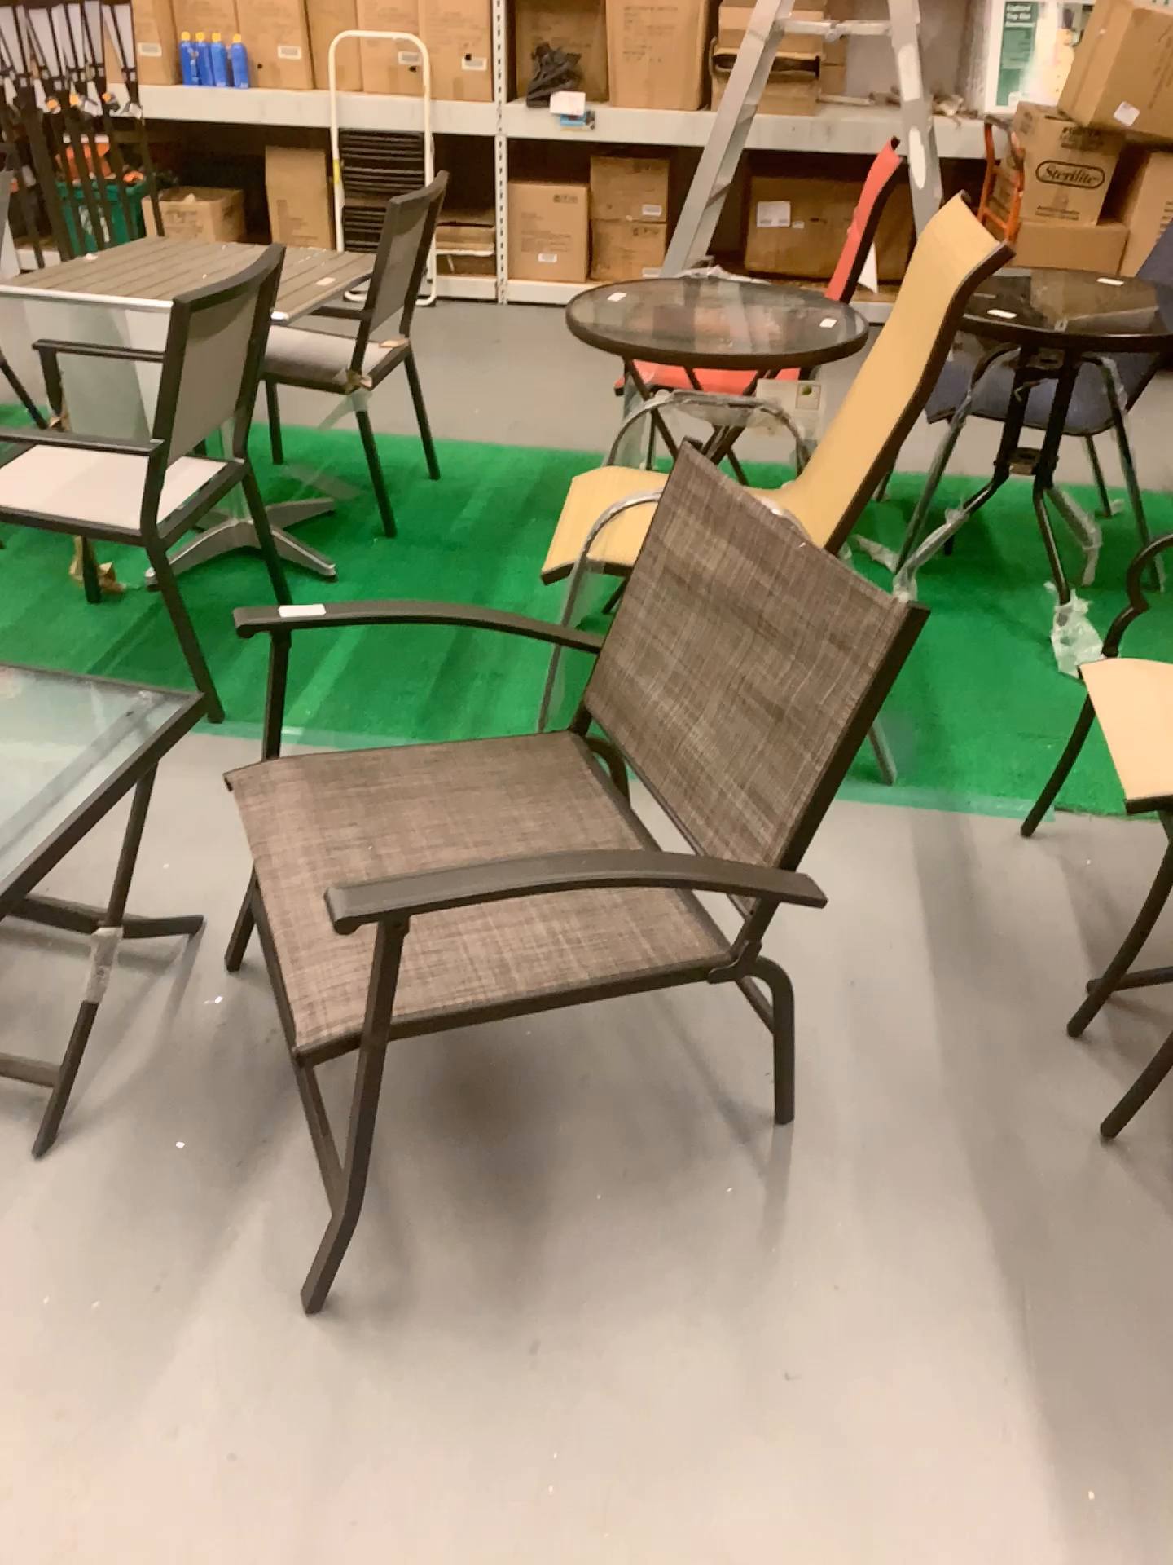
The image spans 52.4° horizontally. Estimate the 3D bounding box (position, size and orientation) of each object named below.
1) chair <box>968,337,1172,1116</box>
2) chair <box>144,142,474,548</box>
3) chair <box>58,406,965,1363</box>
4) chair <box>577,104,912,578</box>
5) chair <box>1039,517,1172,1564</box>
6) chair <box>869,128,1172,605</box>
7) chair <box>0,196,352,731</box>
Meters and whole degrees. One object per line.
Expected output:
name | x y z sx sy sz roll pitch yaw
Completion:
chair | 0.998 -0.081 1.659 0.628 0.837 0.577 7 35 3
chair | -0.690 -1.175 3.189 0.628 0.837 0.557 11 36 8
chair | -0.138 0.061 1.478 0.769 0.778 0.677 -12 37 -20
chair | 0.402 -1.163 3.121 0.668 0.956 0.678 10 36 7
chair | 0.948 0.277 1.131 0.628 0.847 0.557 3 35 -3
chair | 1.260 -1.105 3.140 0.768 0.956 0.738 7 35 3
chair | -0.897 -0.651 2.408 0.628 0.827 0.557 11 36 8
